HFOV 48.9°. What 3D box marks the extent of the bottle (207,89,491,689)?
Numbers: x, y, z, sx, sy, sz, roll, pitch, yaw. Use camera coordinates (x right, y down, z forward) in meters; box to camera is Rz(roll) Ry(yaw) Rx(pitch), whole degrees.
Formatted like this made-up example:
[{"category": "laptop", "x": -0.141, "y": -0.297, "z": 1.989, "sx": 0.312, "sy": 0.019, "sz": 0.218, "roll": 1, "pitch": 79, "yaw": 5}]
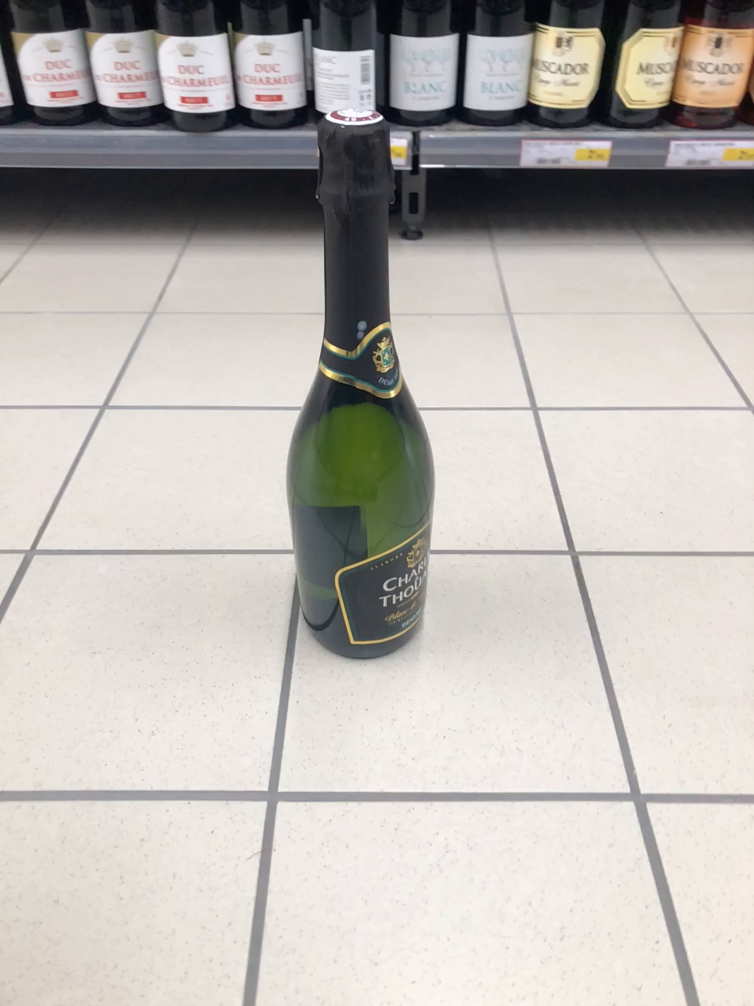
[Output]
[{"category": "bottle", "x": -0.012, "y": -0.049, "z": 0.463, "sx": 0.090, "sy": 0.308, "sz": 0.090, "roll": 0, "pitch": 37, "yaw": 0}]
